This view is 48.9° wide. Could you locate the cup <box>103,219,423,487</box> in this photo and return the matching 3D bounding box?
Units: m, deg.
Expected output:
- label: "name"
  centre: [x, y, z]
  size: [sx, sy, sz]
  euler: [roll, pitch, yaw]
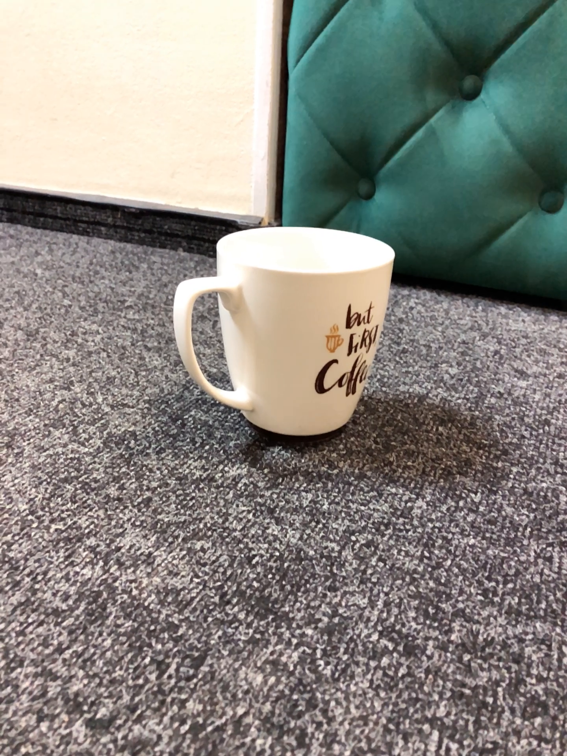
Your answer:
- label: "cup"
  centre: [-0.010, -0.028, 0.374]
  size: [0.146, 0.100, 0.110]
  euler: [-20, 33, -41]
